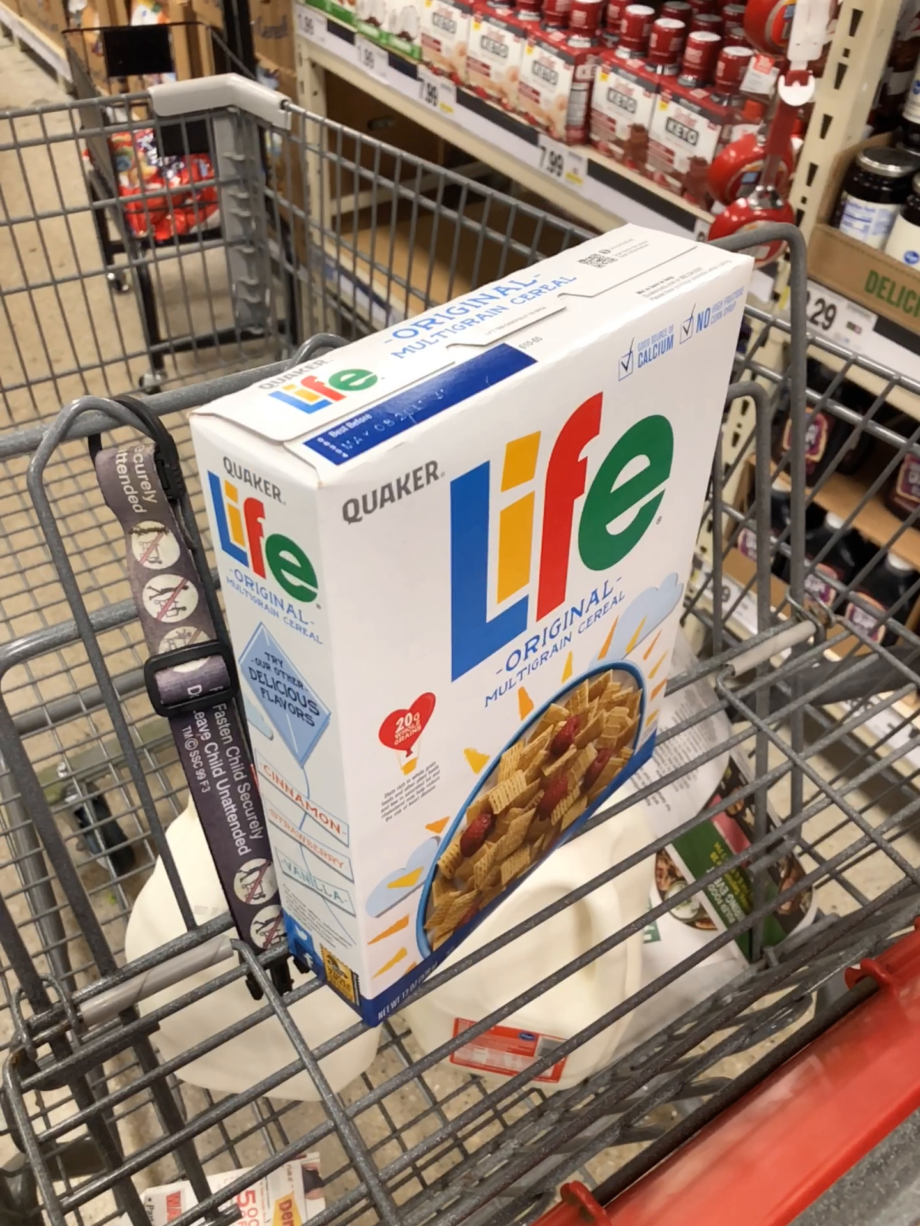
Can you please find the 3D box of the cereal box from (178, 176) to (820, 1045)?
[{"bbox_3d":[0.023,0.003,0.349,0.050,0.239,0.200,32,50,31],"label":"cereal box"}]
